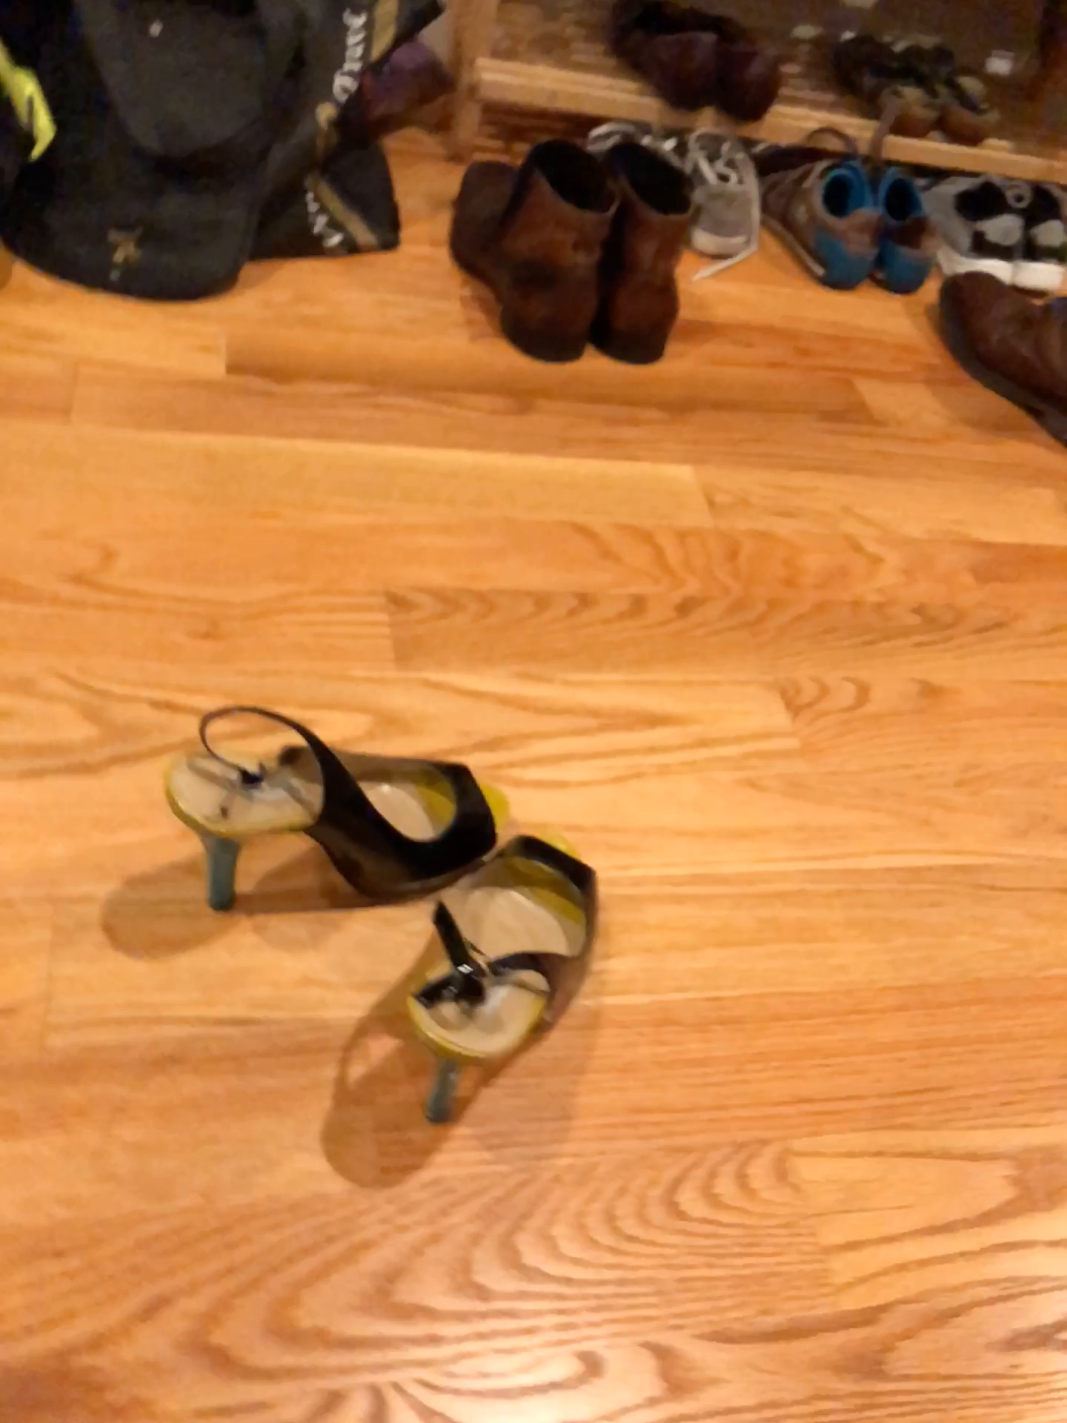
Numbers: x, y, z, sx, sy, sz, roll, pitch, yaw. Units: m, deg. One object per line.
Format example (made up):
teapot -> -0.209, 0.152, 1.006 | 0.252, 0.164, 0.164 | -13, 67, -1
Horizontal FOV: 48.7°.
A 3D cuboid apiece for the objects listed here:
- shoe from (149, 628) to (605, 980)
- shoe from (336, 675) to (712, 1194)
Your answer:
shoe -> -0.085, 0.045, 0.615 | 0.204, 0.121, 0.085 | -12, 53, -26
shoe -> -0.002, 0.104, 0.584 | 0.085, 0.131, 0.202 | 26, 46, 8
